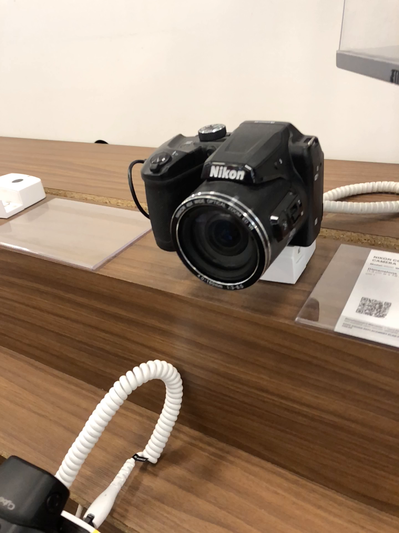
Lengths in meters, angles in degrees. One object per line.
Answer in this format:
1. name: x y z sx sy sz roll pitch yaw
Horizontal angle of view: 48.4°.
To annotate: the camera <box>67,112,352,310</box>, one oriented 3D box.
1. camera: 0.015 -0.050 0.292 0.130 0.070 0.130 12 34 29
